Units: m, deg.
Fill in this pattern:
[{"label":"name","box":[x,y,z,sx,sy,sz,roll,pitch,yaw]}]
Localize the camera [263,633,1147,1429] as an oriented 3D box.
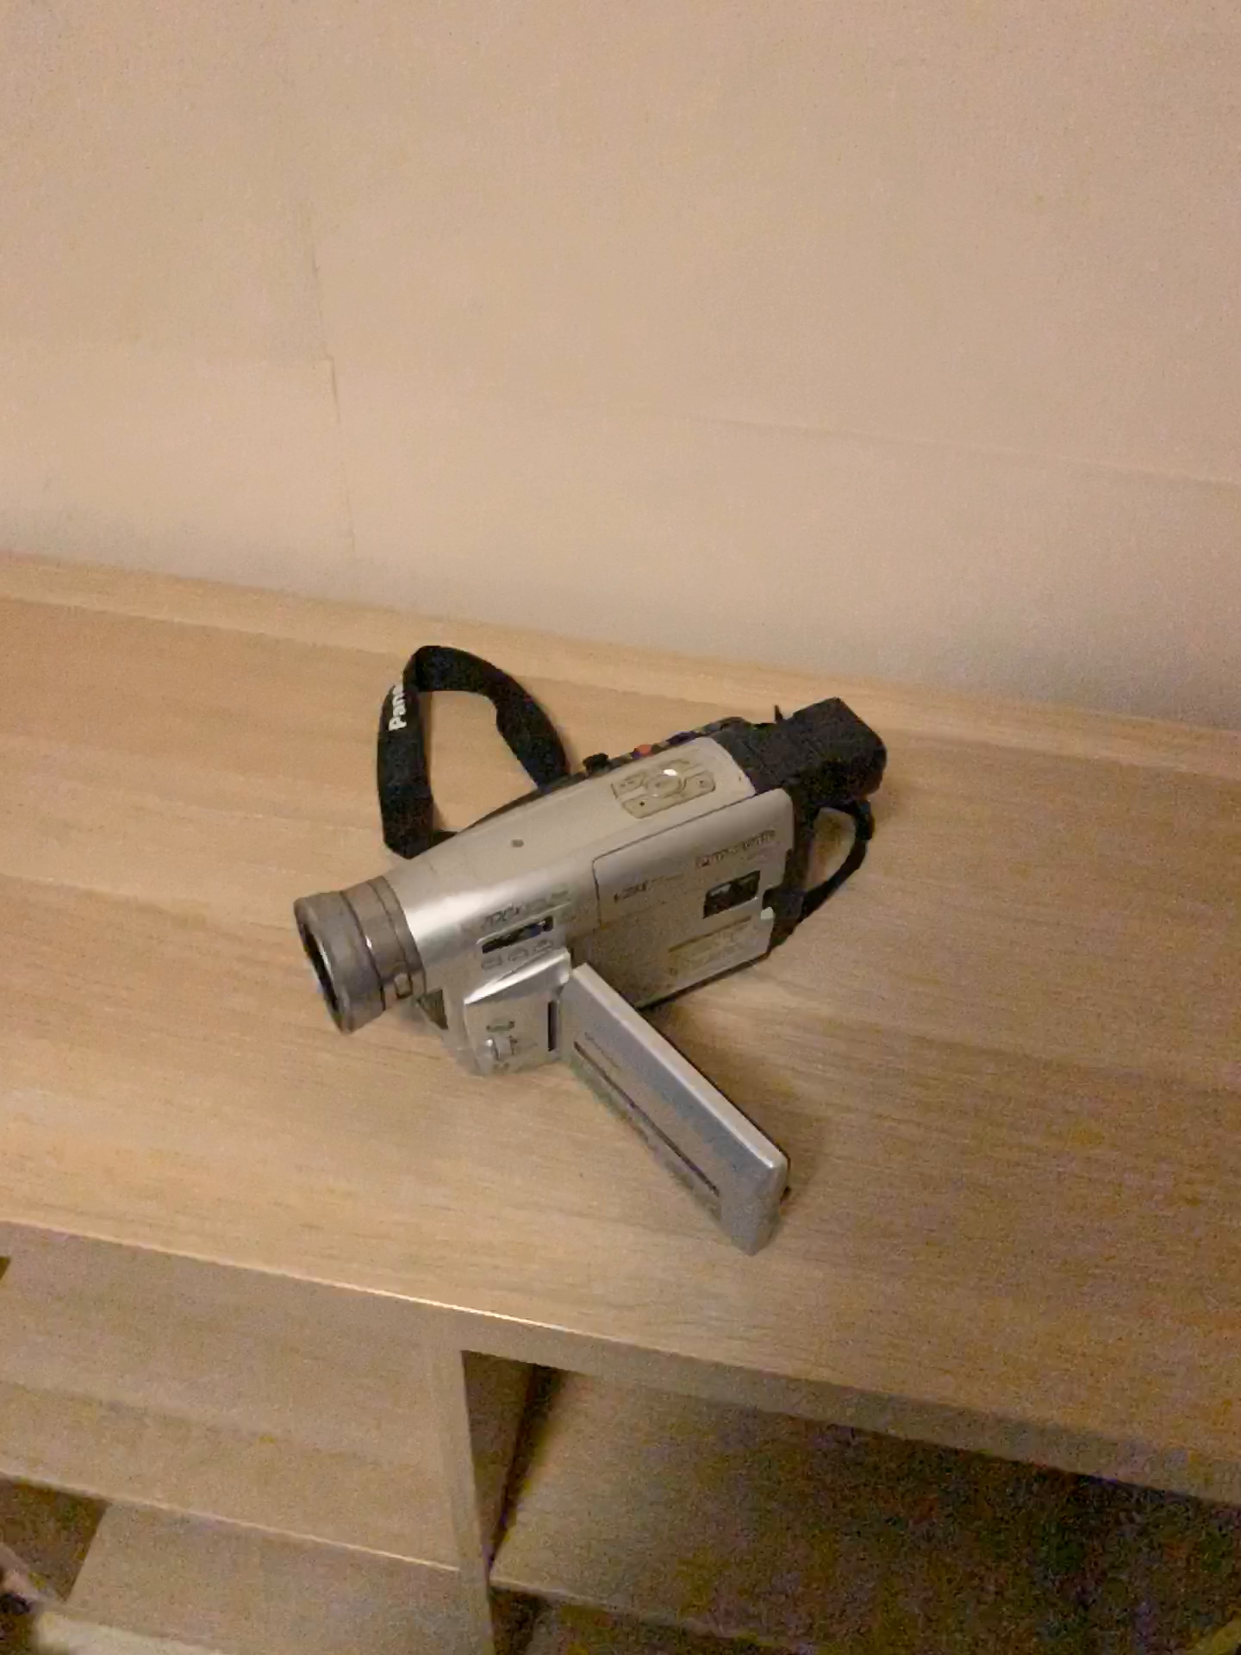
[{"label":"camera","box":[0.023,0.057,0.492,0.246,0.109,0.204,-21,50,-23]}]
